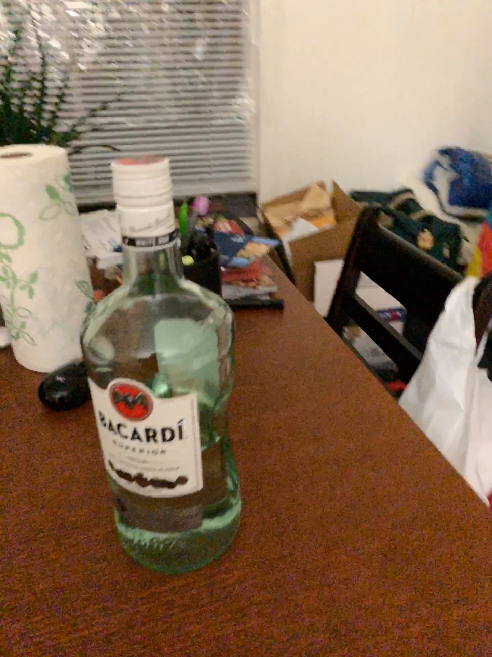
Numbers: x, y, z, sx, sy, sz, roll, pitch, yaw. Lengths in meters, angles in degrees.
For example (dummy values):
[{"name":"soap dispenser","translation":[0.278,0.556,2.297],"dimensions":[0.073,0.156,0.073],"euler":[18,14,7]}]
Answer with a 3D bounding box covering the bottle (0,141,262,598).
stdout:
[{"name":"bottle","translation":[-0.061,0.038,0.393],"dimensions":[0.120,0.328,0.121],"euler":[-1,29,1]}]
